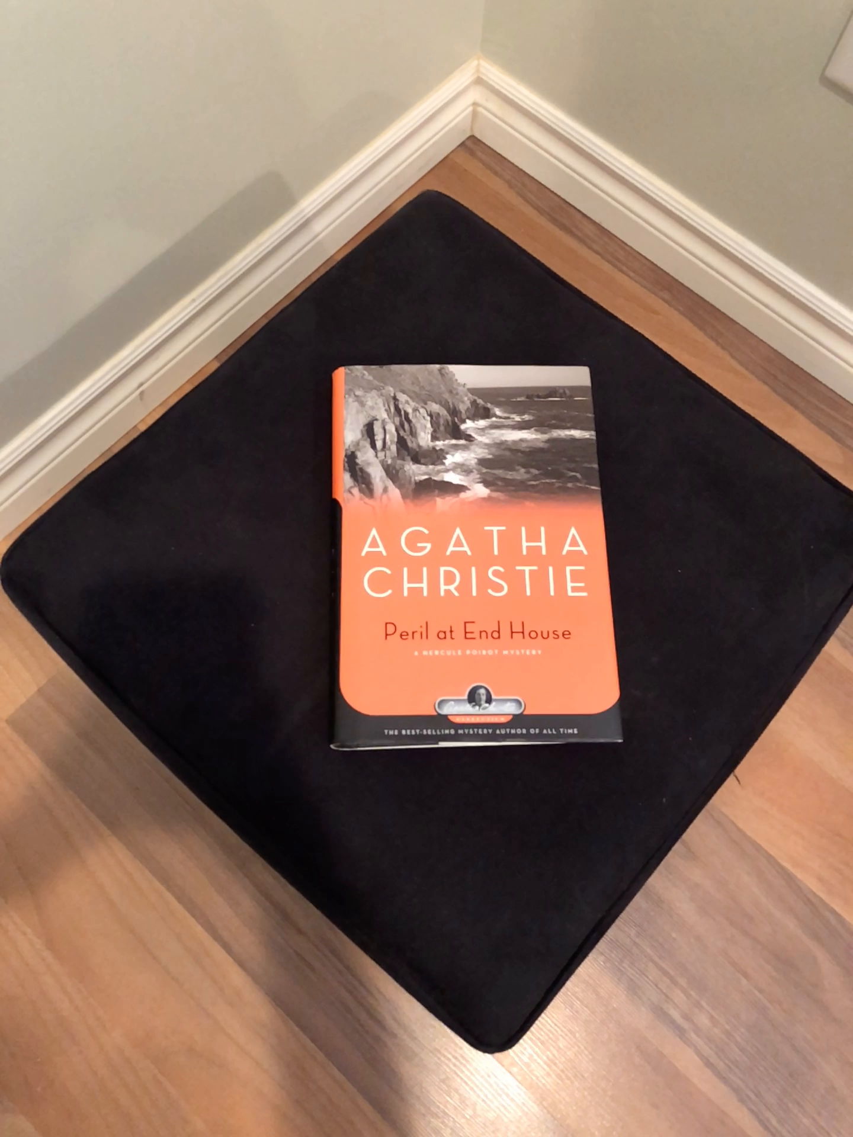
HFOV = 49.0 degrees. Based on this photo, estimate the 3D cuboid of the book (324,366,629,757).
[{"bbox_3d":[0.020,-0.008,0.497,0.146,0.030,0.206,-1,71,-2],"label":"book"}]
